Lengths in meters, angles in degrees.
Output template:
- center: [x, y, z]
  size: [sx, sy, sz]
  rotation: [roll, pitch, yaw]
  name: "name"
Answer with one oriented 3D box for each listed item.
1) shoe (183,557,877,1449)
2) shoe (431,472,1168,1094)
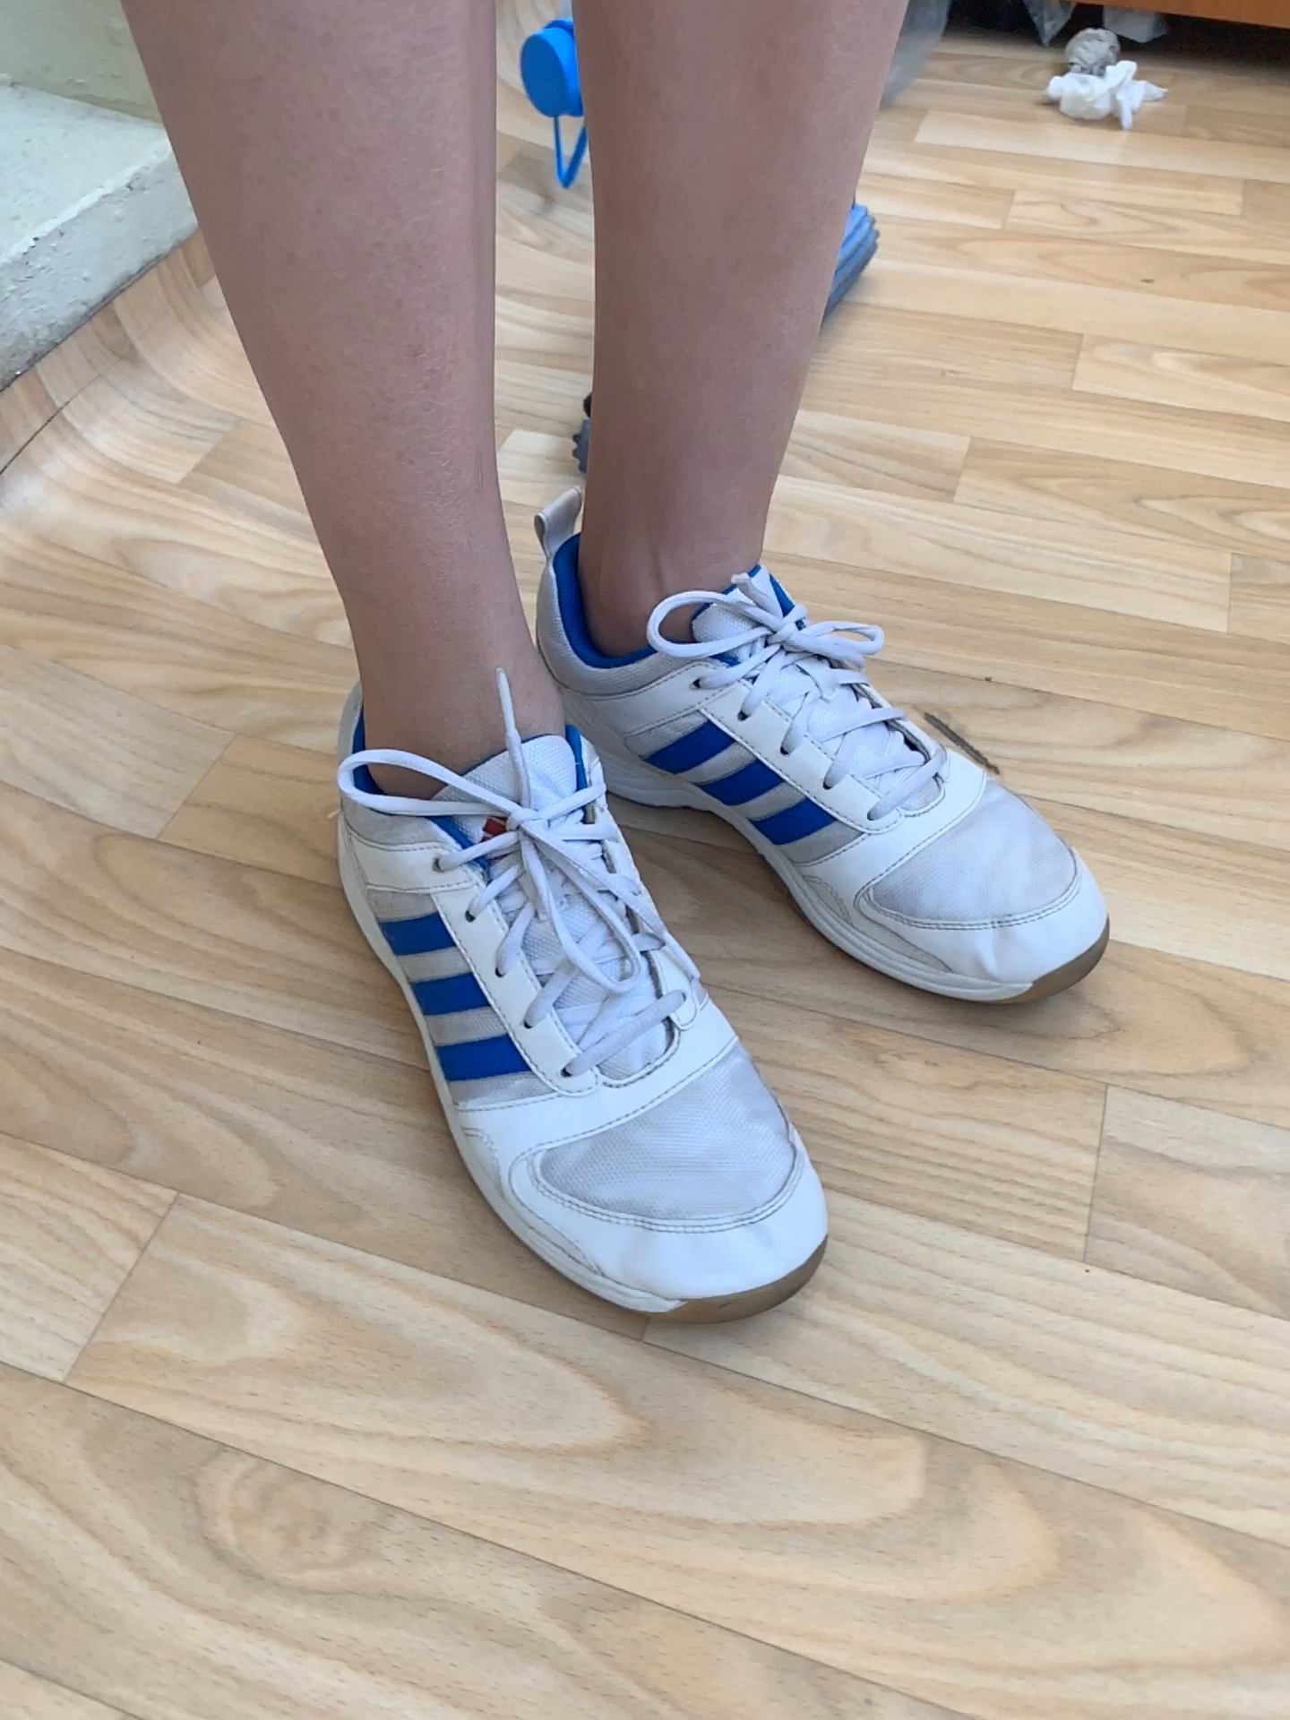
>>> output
- center: [-0.049, 0.031, 0.438]
  size: [0.100, 0.120, 0.261]
  rotation: [-24, 51, -19]
  name: "shoe"
- center: [0.046, -0.042, 0.511]
  size: [0.261, 0.090, 0.100]
  rotation: [35, 57, 29]
  name: "shoe"
